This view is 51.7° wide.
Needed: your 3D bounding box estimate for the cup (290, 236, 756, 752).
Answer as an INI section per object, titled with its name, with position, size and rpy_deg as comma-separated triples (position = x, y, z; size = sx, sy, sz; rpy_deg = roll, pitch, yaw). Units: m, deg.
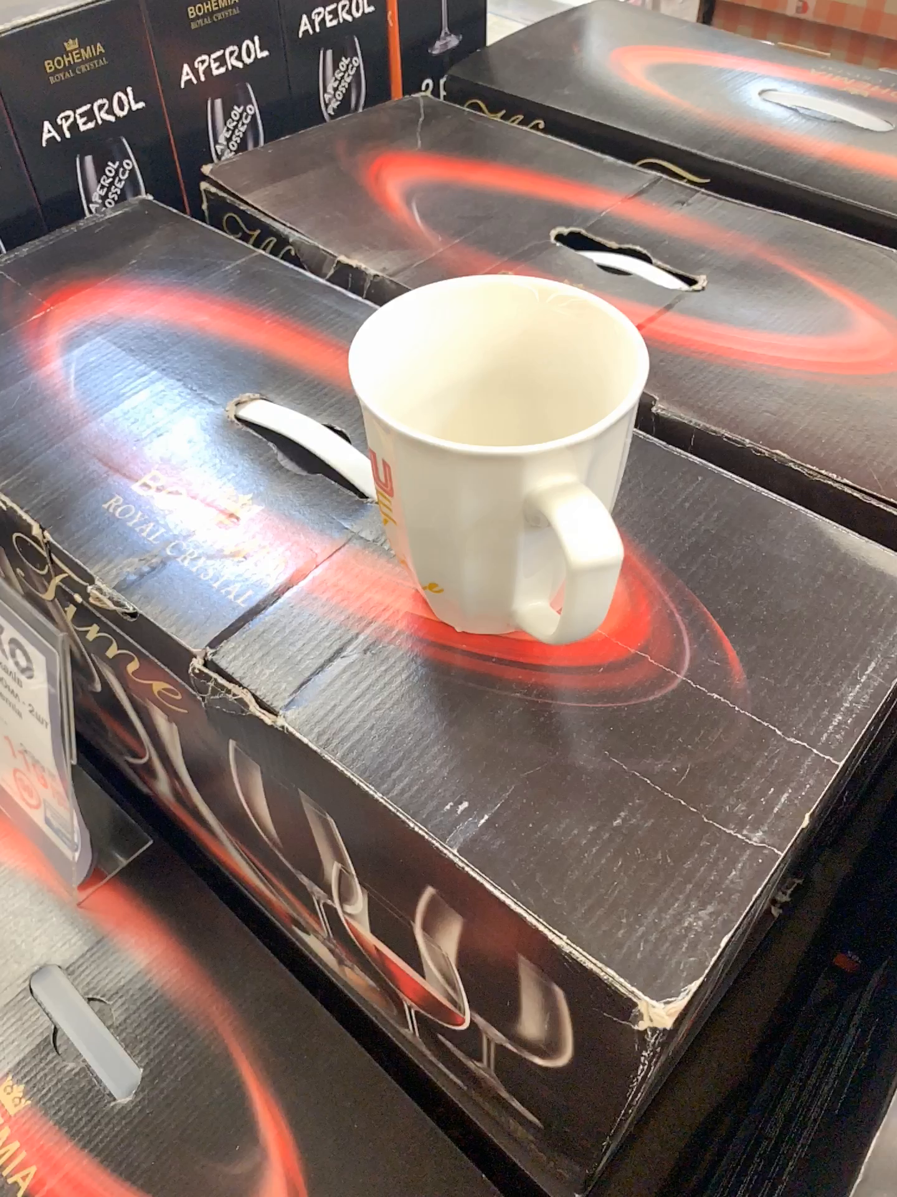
[cup]
position = 0.013, -0.036, 0.280
size = 0.090, 0.080, 0.120
rpy_deg = -13, 50, -10
